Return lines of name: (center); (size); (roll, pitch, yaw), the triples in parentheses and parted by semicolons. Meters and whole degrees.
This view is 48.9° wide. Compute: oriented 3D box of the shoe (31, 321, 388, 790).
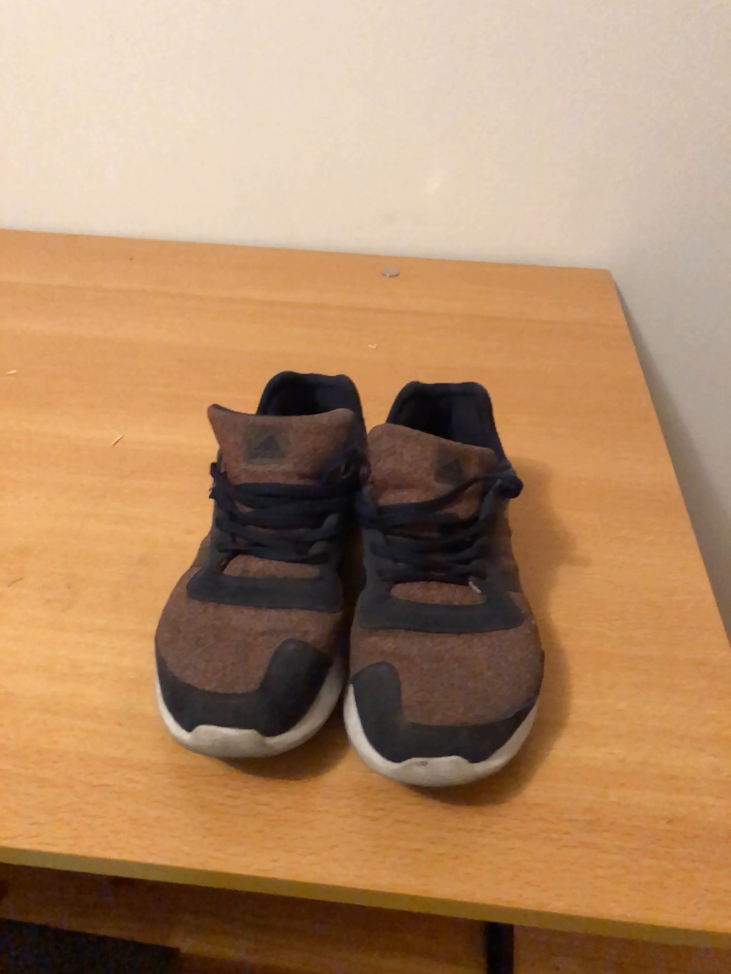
shoe: (-0.063, 0.014, 0.478); (0.130, 0.099, 0.292); (4, 37, 3)

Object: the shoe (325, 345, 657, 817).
shoe: (0.059, 0.029, 0.450); (0.130, 0.099, 0.262); (4, 37, 3)
